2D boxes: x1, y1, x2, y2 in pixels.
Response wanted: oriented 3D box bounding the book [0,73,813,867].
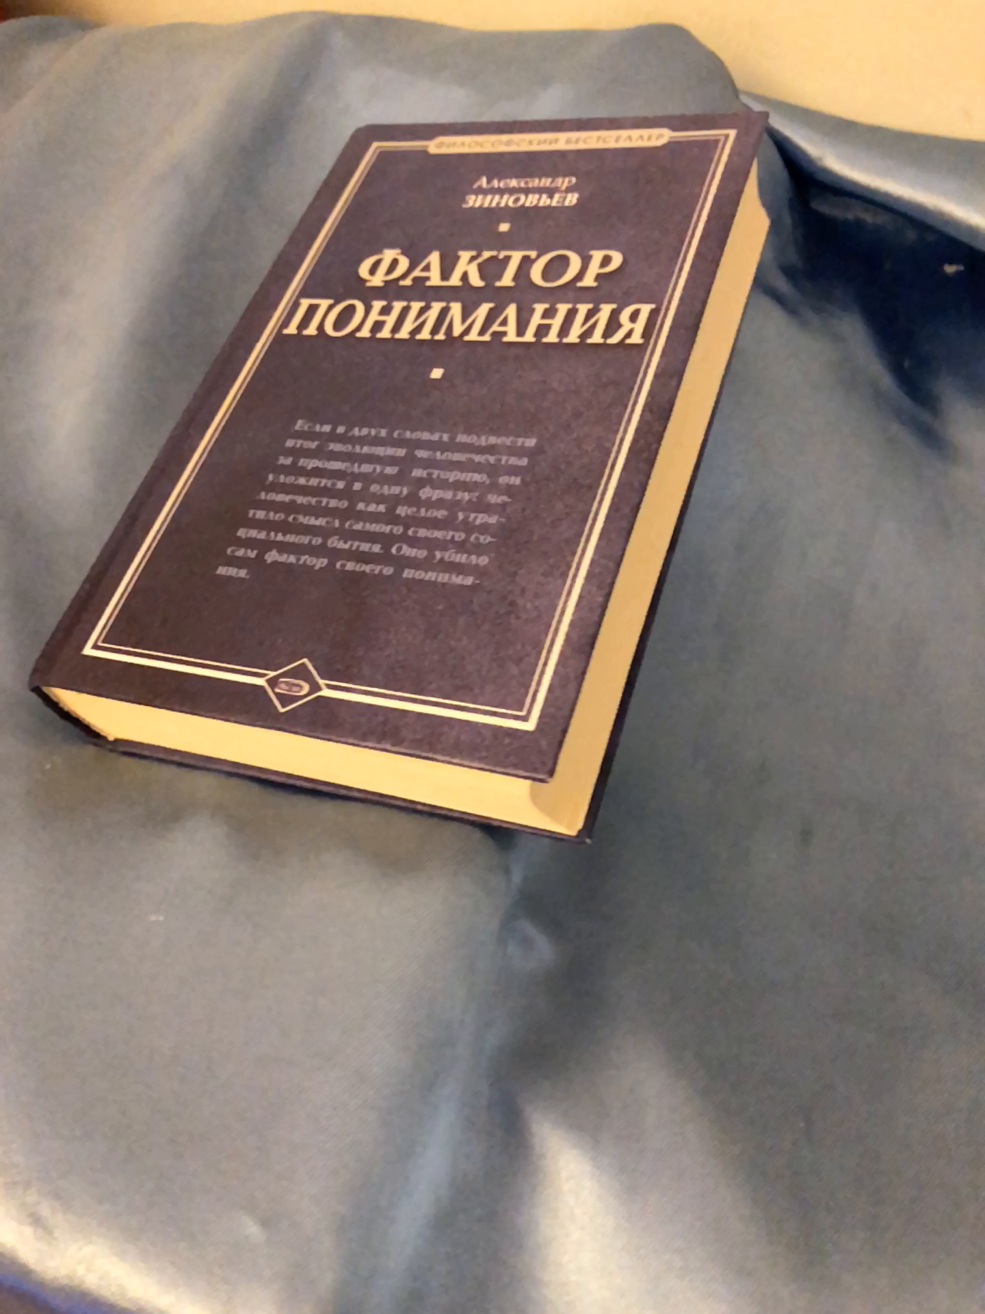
[{"bbox_3d":[-0.008,-0.068,0.289,0.140,0.040,0.221,8,59,23],"label":"book"}]
